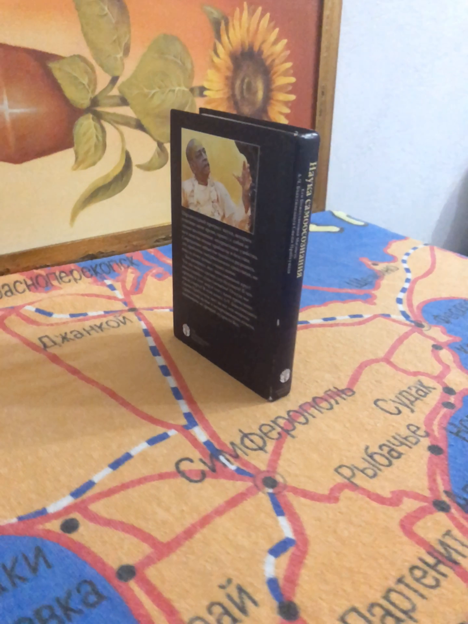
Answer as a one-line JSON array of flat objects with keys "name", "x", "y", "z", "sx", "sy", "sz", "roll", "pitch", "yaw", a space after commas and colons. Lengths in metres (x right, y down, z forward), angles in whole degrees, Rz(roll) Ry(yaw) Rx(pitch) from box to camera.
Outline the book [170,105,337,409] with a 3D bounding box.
[{"name": "book", "x": 0.002, "y": -0.047, "z": 0.411, "sx": 0.030, "sy": 0.206, "sz": 0.140, "roll": -19, "pitch": 34, "yaw": -38}]
